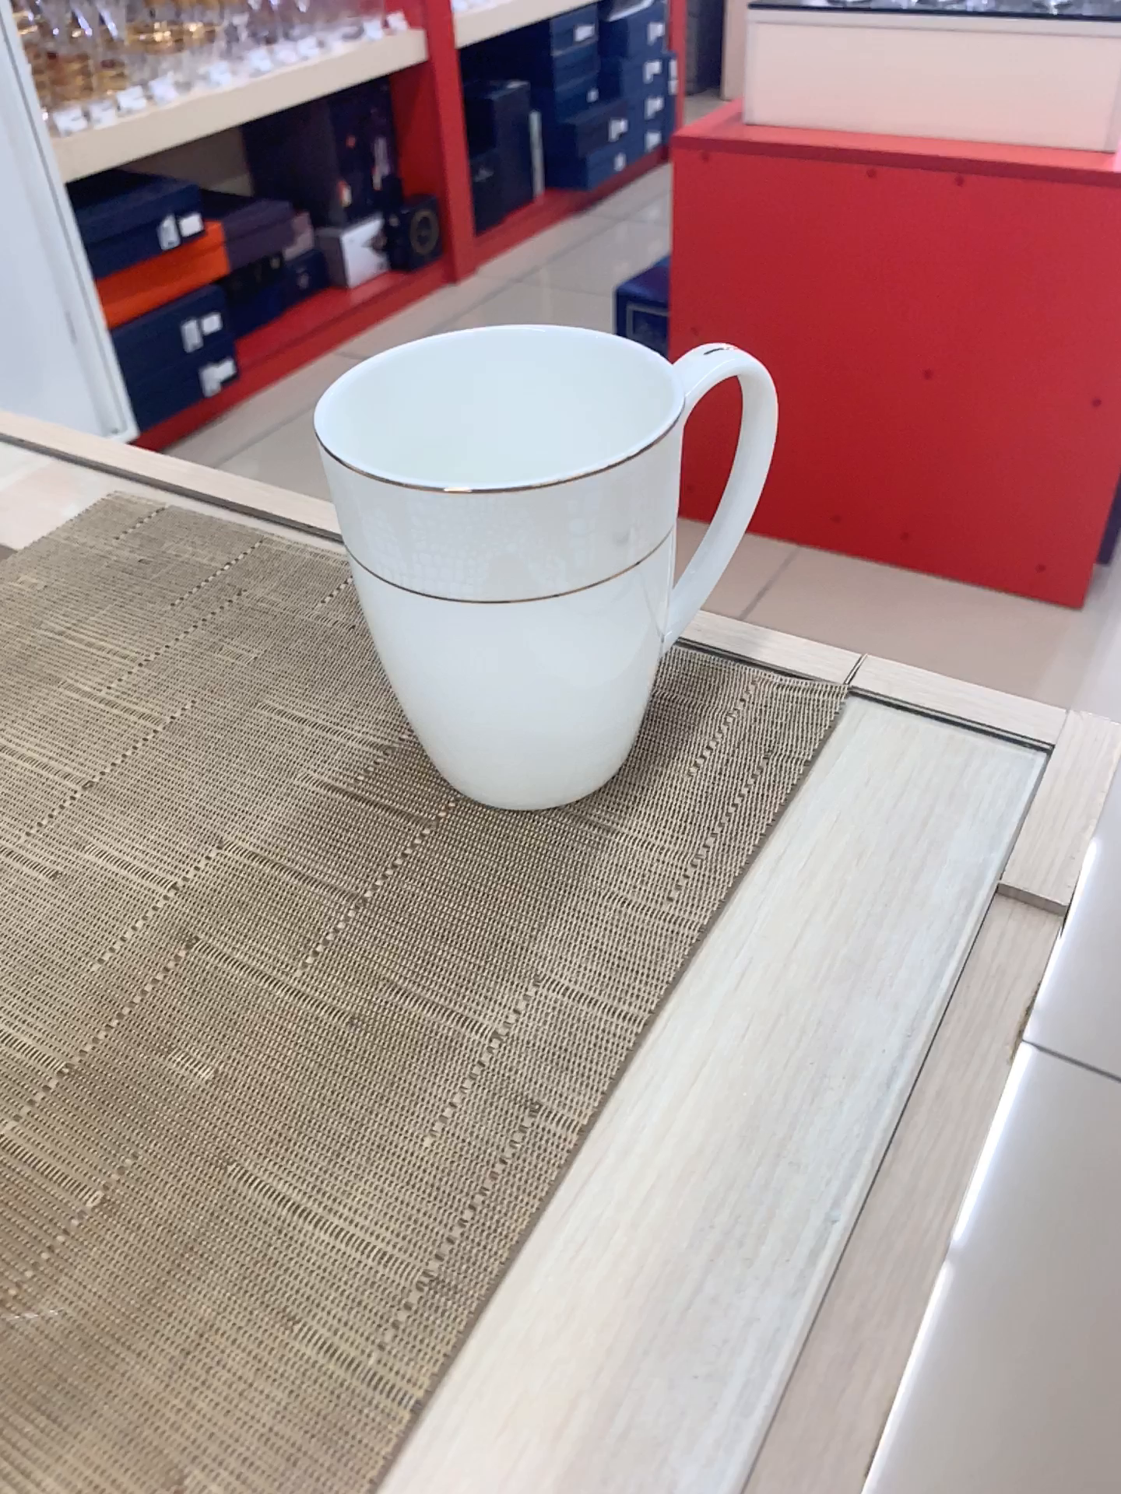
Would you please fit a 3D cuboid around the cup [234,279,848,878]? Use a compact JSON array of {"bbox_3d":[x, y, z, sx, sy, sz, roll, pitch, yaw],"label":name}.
[{"bbox_3d":[-0.006,-0.049,0.308,0.120,0.100,0.090,-19,42,-17],"label":"cup"}]
